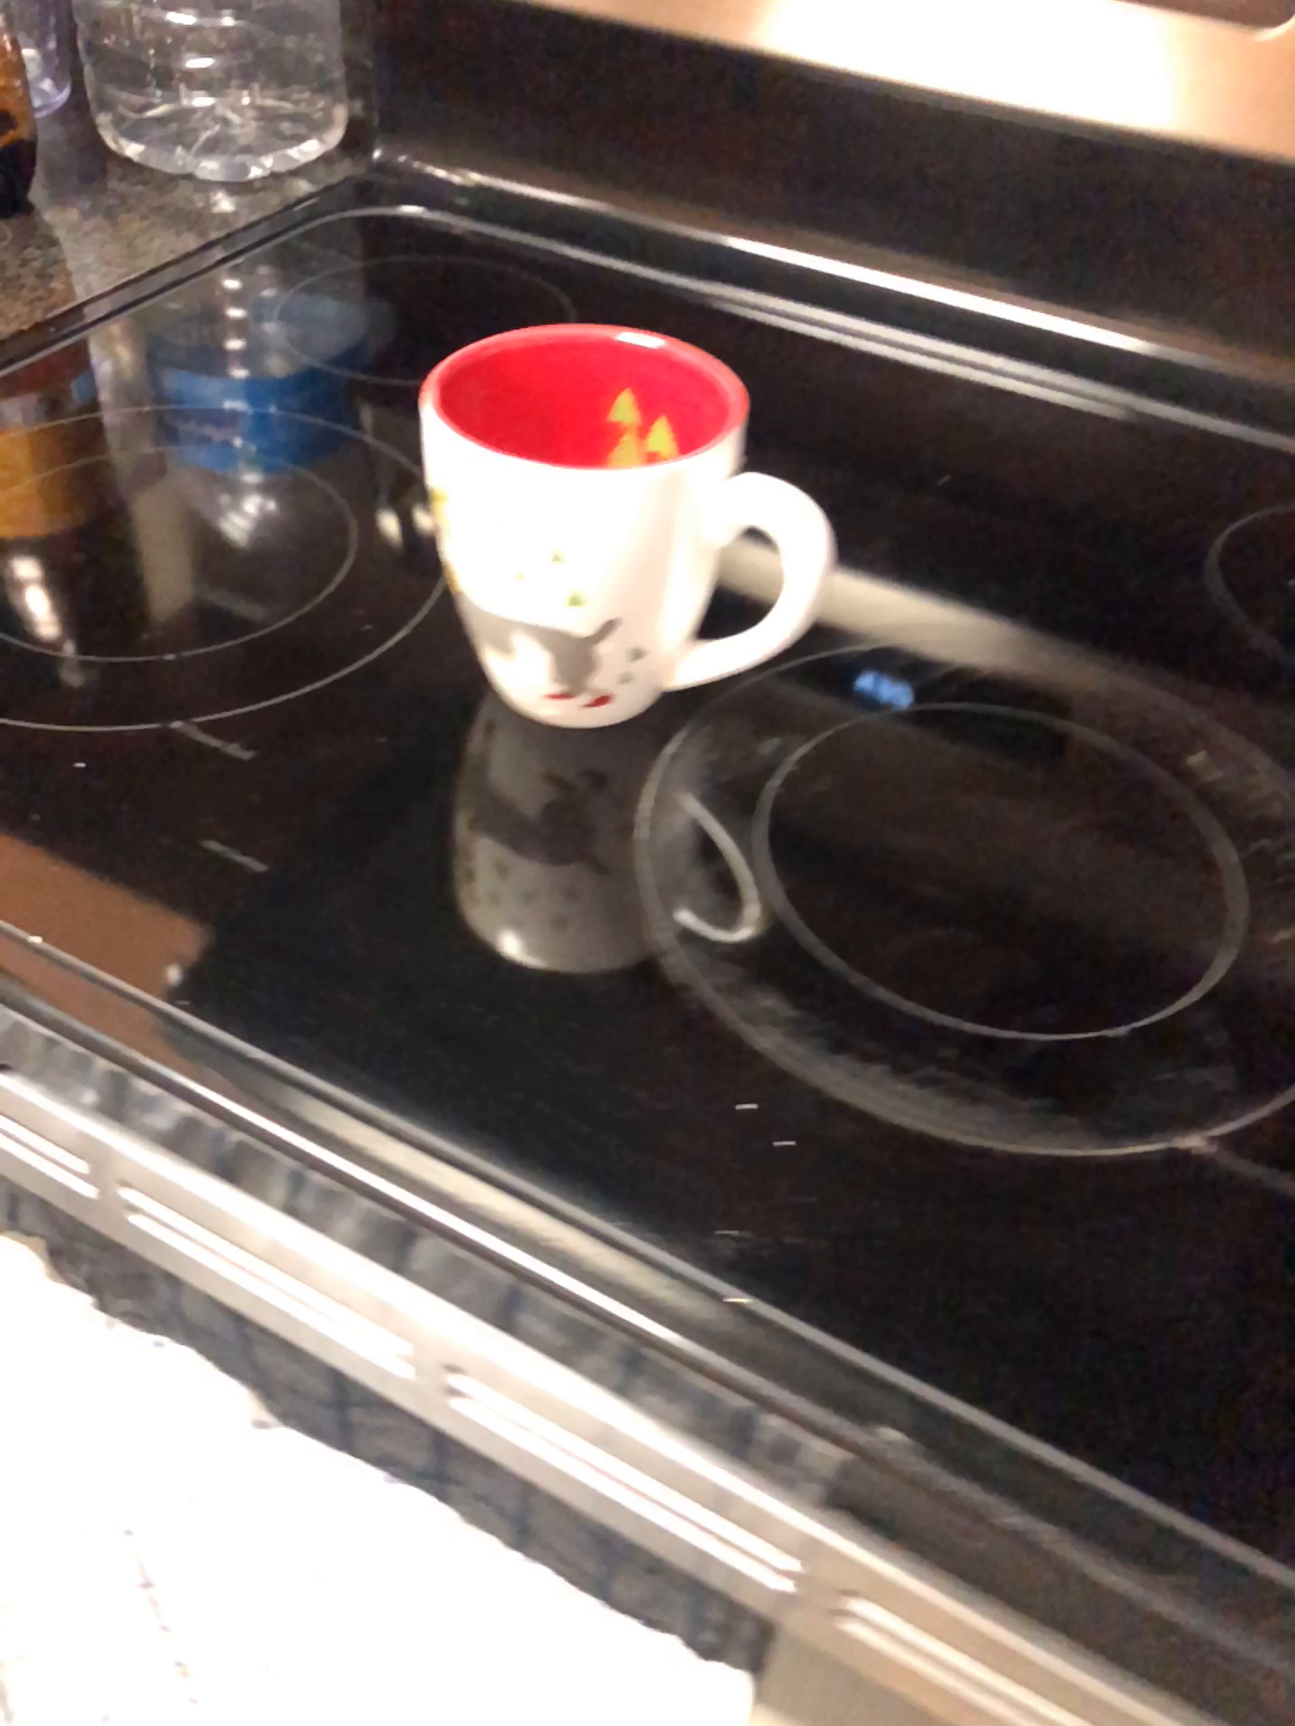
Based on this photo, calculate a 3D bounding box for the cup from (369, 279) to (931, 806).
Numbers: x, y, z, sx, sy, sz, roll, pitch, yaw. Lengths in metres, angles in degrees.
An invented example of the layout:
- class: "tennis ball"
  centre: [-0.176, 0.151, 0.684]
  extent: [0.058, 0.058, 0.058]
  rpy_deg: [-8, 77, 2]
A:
- class: "cup"
  centre: [0.001, -0.108, 0.470]
  extent: [0.140, 0.100, 0.100]
  rpy_deg: [21, 46, 17]
